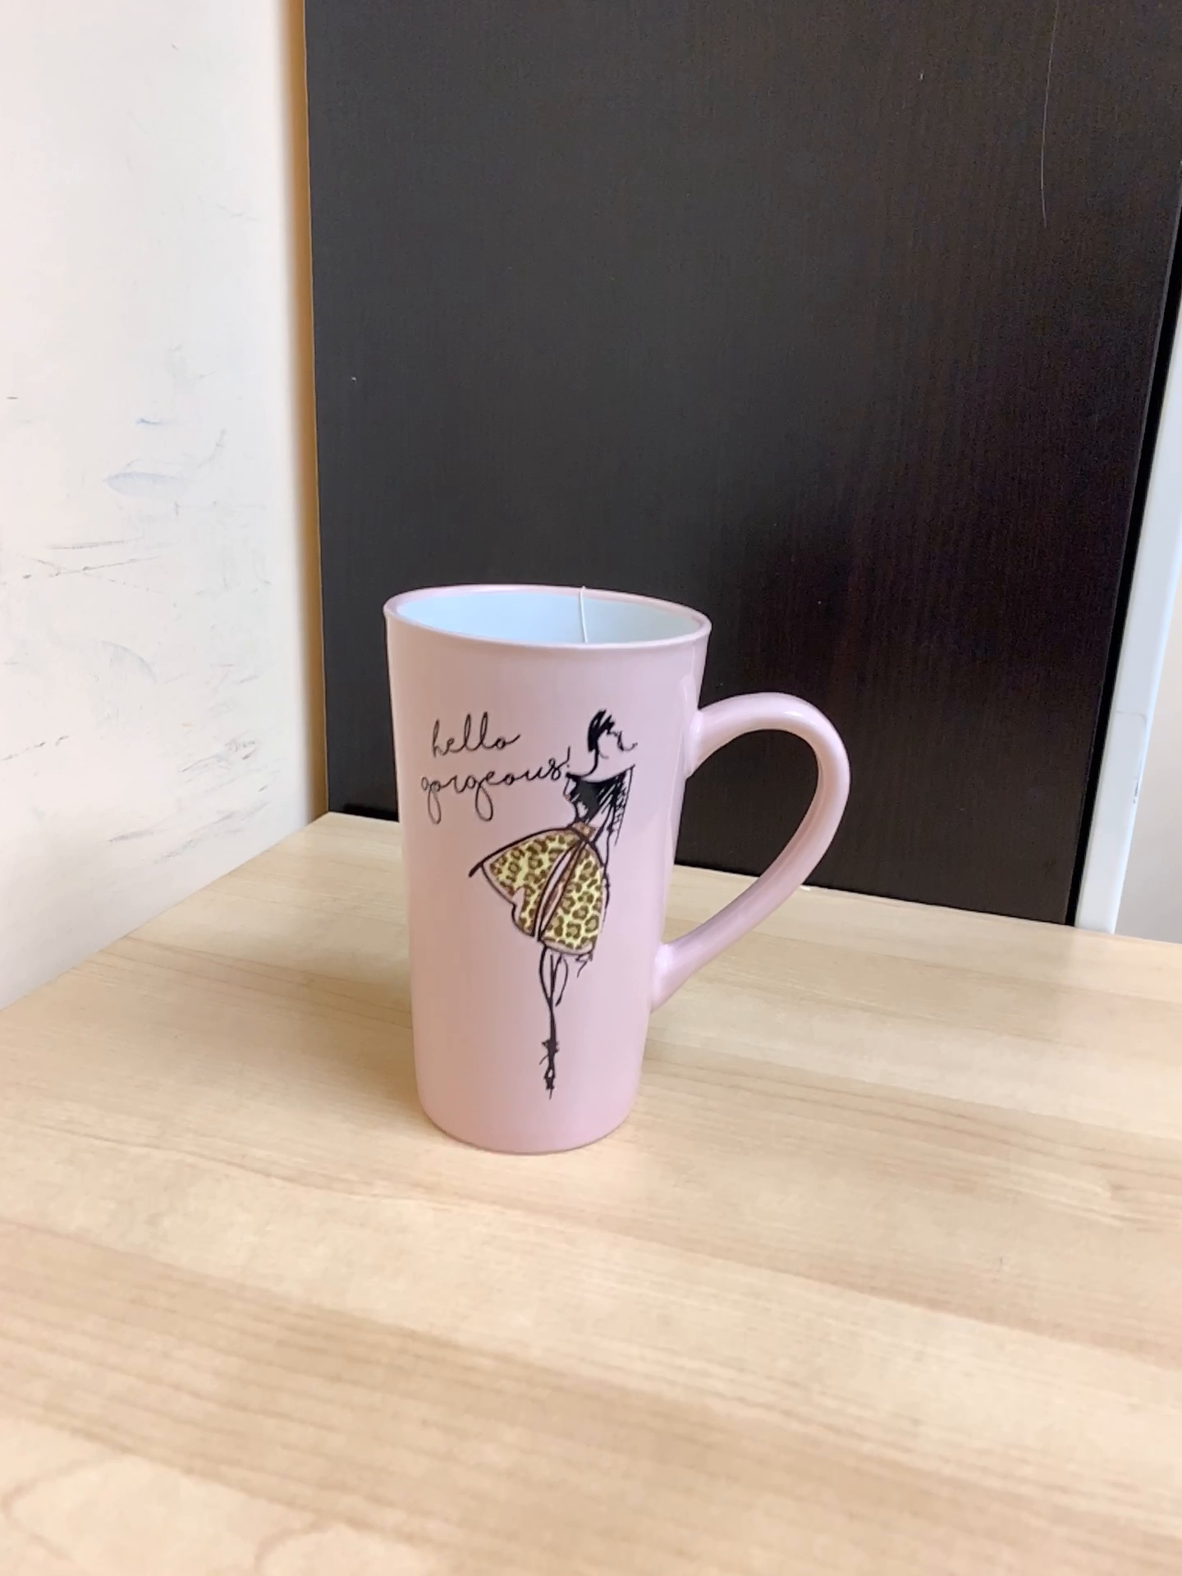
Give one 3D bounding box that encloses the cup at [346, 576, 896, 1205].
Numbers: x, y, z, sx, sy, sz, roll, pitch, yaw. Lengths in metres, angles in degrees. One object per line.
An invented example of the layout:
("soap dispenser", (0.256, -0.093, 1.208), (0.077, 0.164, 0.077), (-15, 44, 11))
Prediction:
("cup", (0.007, 0.024, 0.358), (0.133, 0.151, 0.093), (4, 17, 5))
